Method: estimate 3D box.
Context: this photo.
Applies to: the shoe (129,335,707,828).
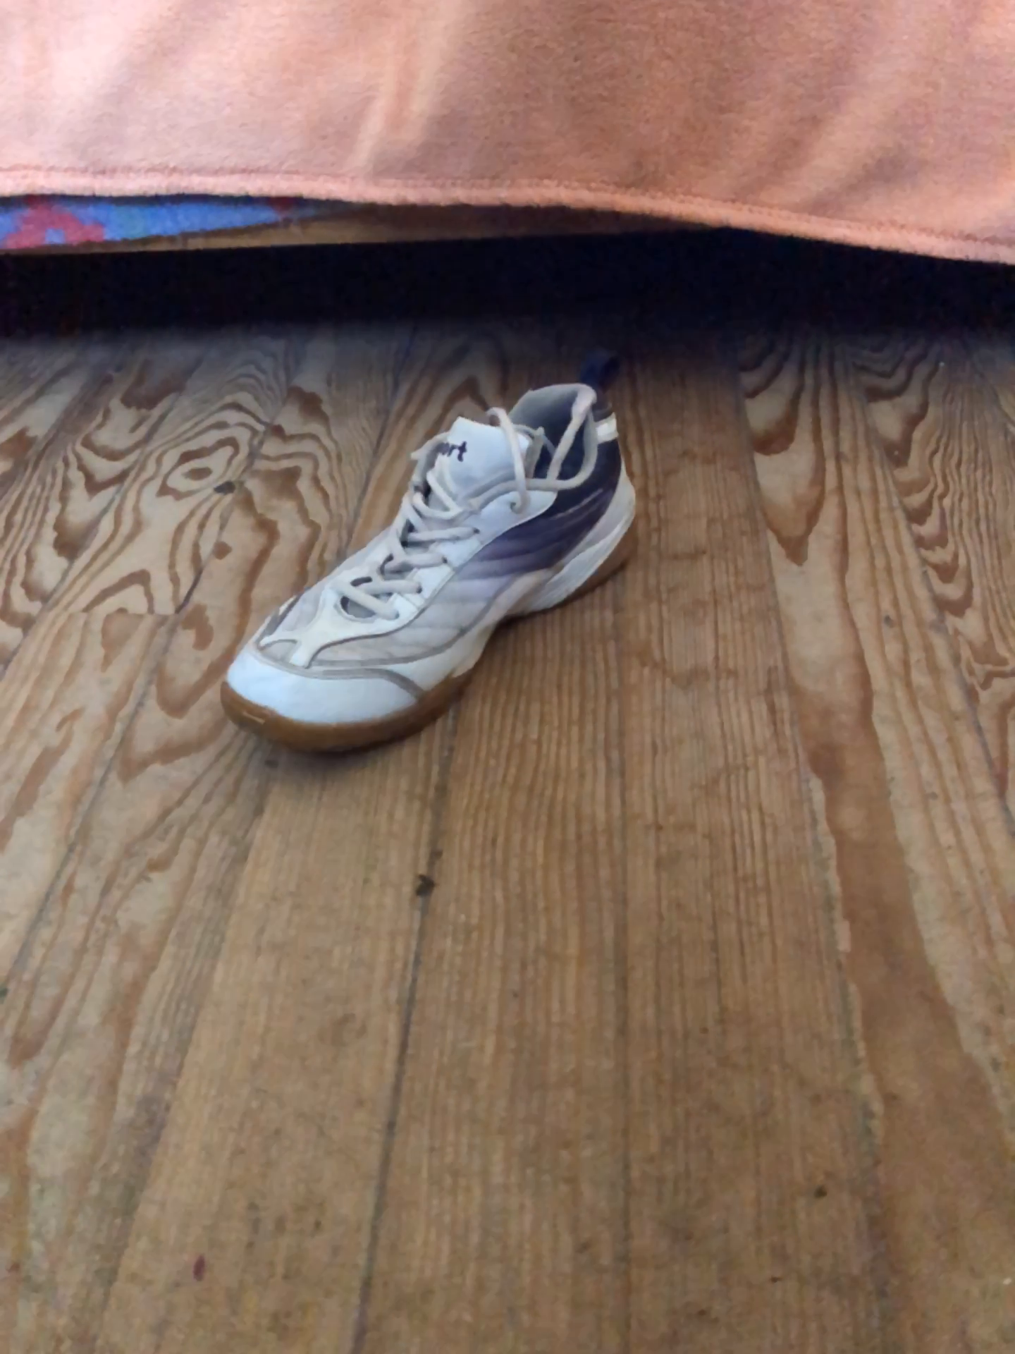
[{"bbox_3d":[-0.028,-0.061,0.548,0.261,0.099,0.110,-35,48,-30],"label":"shoe"}]
